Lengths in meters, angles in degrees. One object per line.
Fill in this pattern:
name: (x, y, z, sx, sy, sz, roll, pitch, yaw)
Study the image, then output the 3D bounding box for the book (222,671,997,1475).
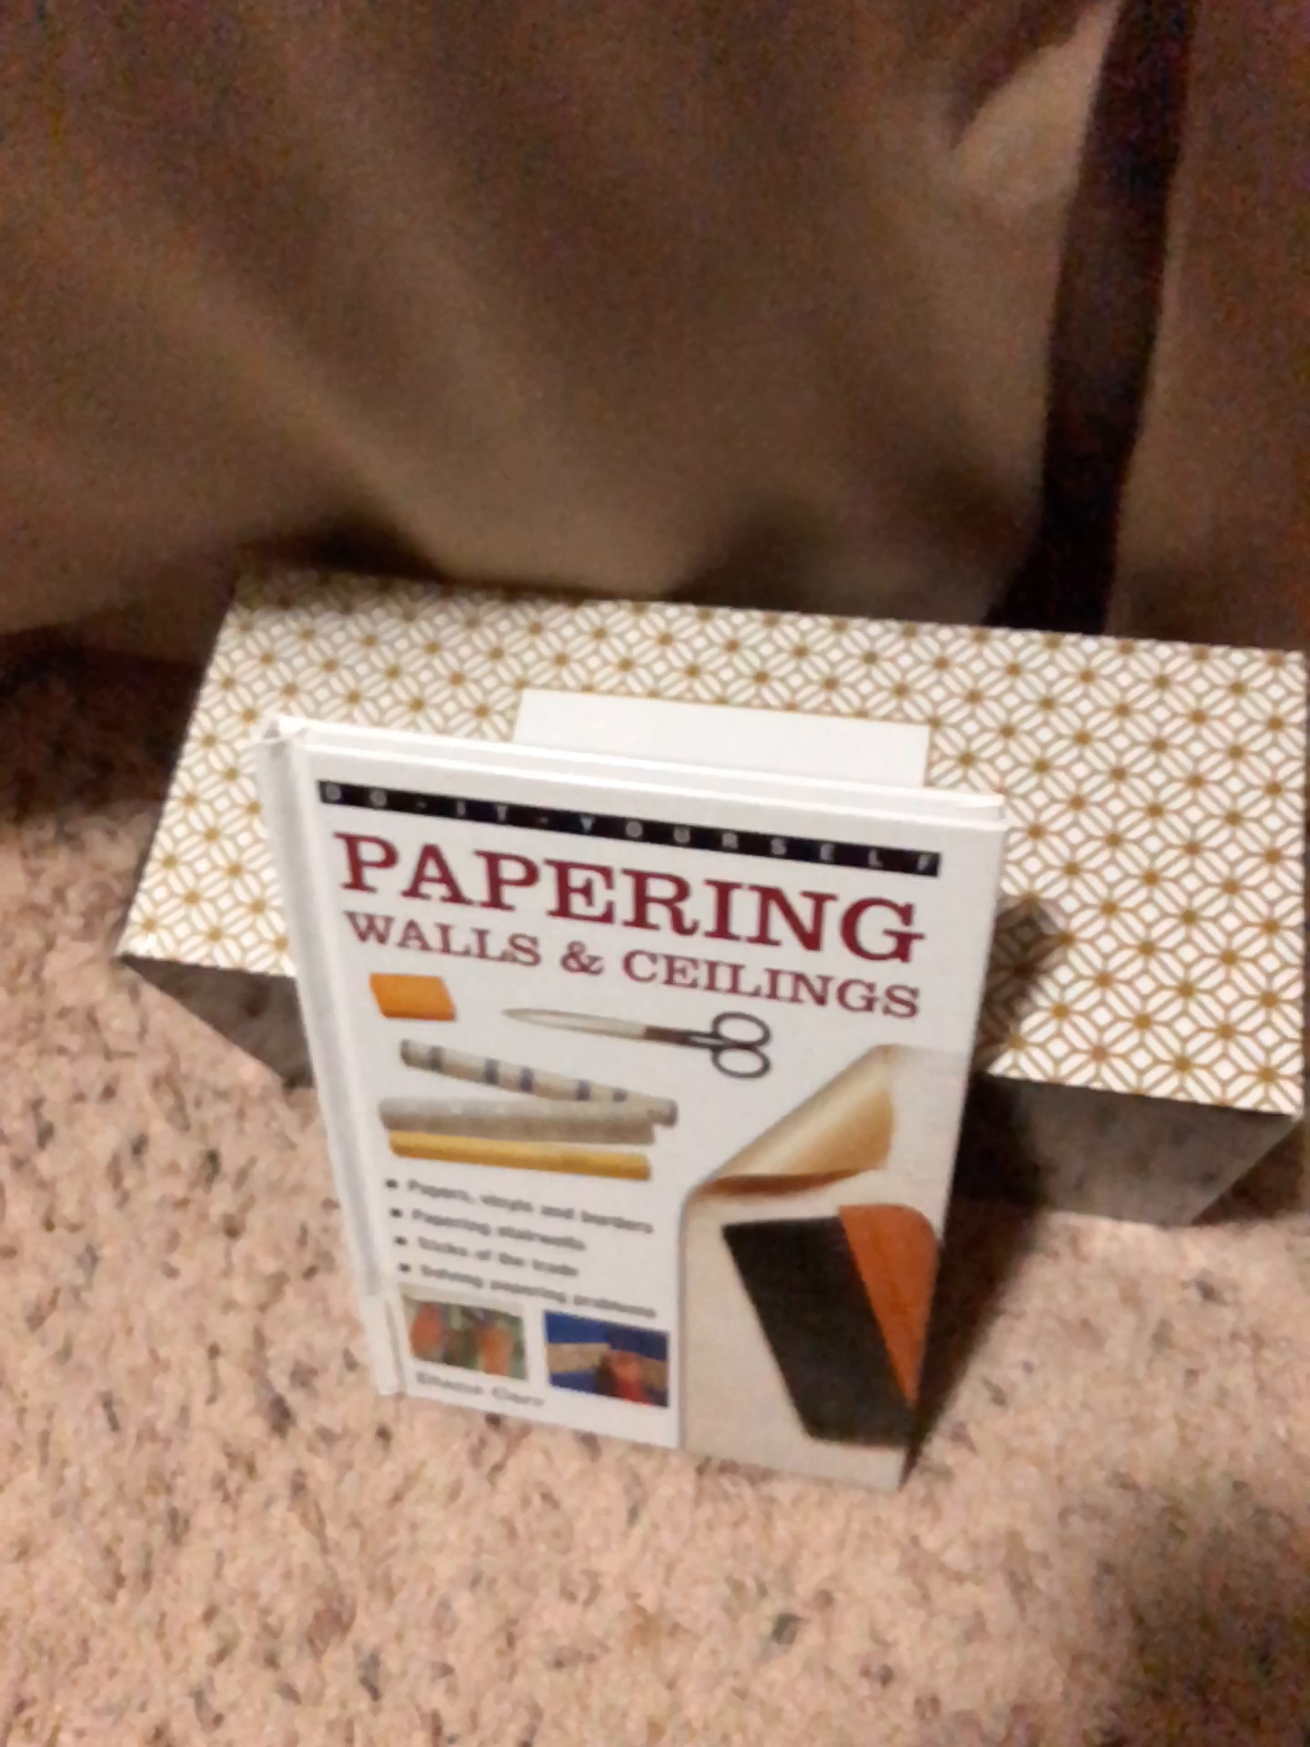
book: (-0.009, 0.057, 0.332, 0.143, 0.207, 0.015, 7, 38, 11)
